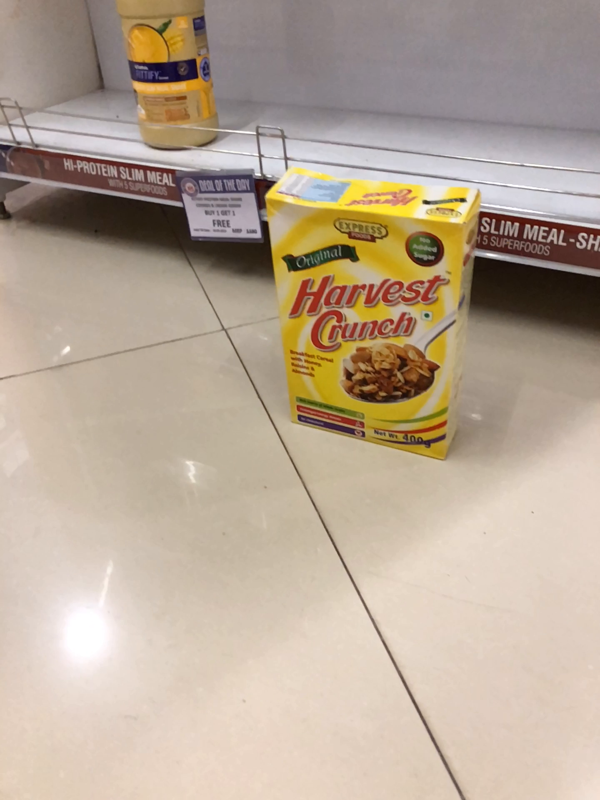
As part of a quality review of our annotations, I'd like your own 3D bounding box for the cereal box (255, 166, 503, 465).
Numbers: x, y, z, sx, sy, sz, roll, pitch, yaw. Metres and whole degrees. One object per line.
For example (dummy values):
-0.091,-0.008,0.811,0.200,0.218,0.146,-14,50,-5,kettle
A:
0.057,-0.061,0.515,0.160,0.209,0.050,13,41,20,cereal box
